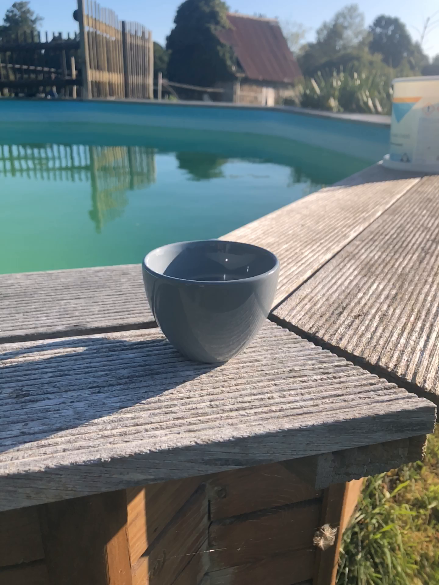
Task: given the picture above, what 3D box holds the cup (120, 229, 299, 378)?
[{"bbox_3d":[0.000,0.000,0.323,0.091,0.052,0.106,6,23,12],"label":"cup"}]
